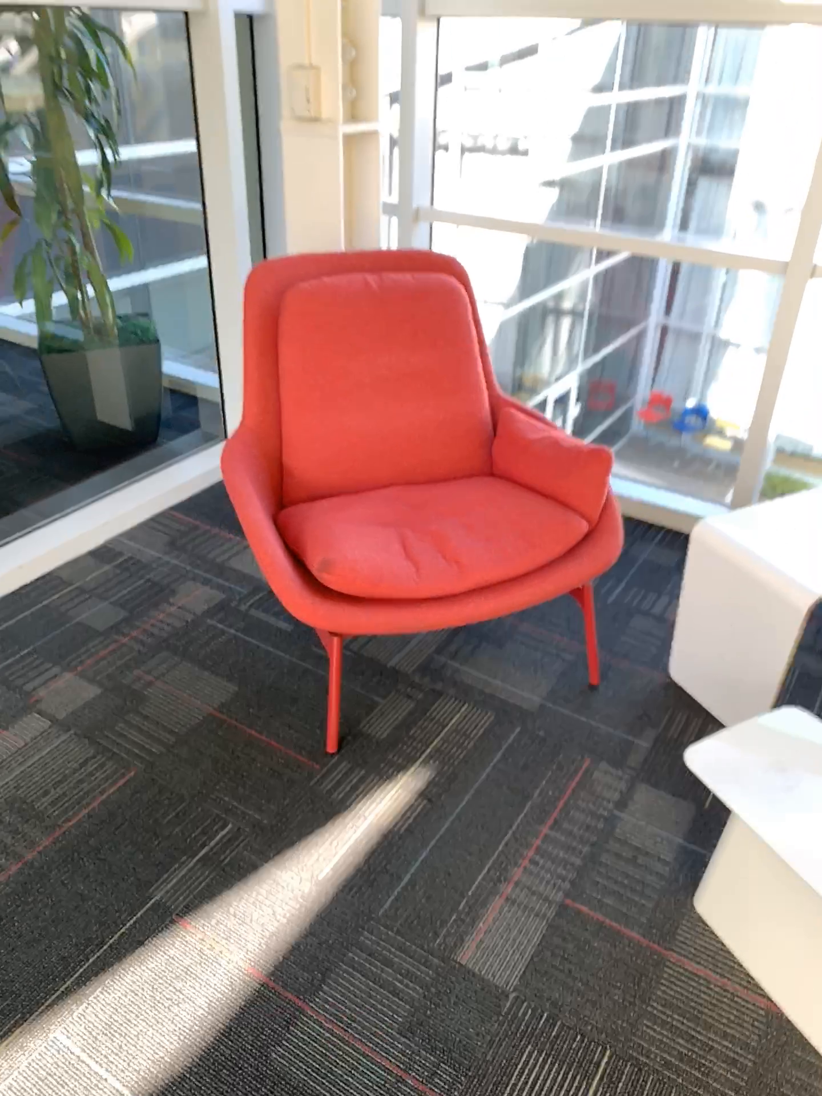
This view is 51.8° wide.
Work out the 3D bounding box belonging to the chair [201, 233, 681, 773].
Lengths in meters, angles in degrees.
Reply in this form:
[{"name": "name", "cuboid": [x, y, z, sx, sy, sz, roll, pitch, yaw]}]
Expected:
[{"name": "chair", "cuboid": [0.003, -0.181, 2.257, 0.870, 1.054, 0.825, -10, 33, -19]}]
